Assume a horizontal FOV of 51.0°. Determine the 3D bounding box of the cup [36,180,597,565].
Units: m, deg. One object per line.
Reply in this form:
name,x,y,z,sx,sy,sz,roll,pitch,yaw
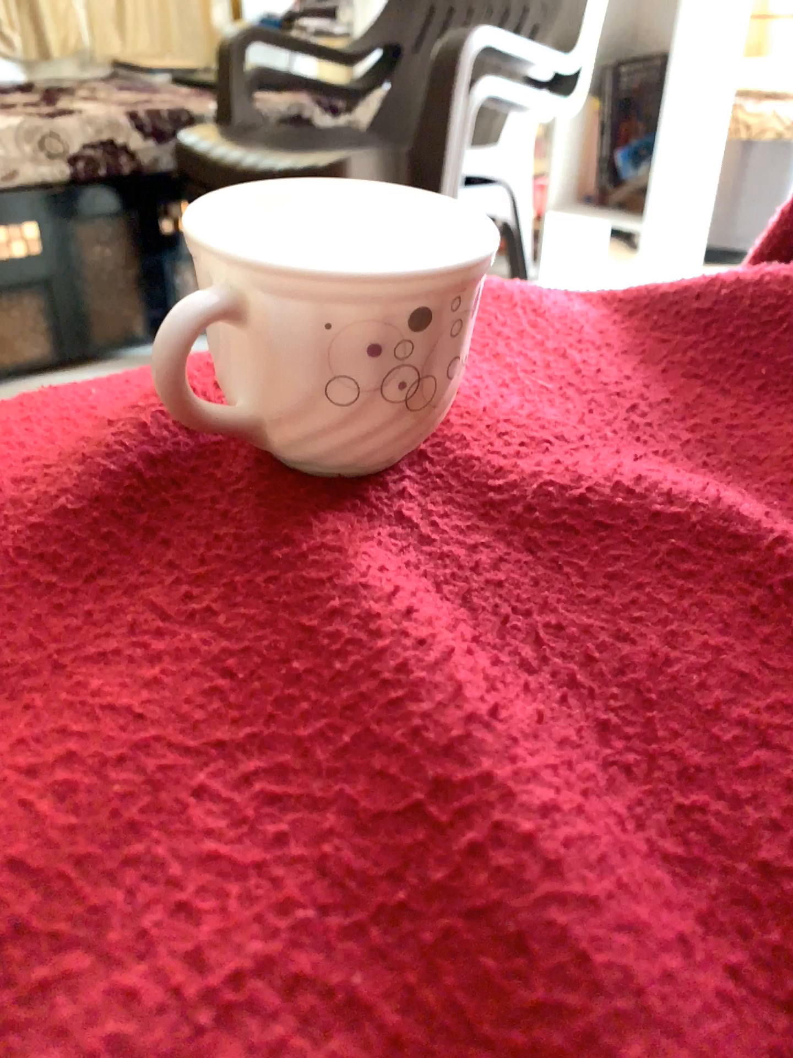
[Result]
cup,-0.015,-0.048,0.202,0.080,0.050,0.100,24,38,34
